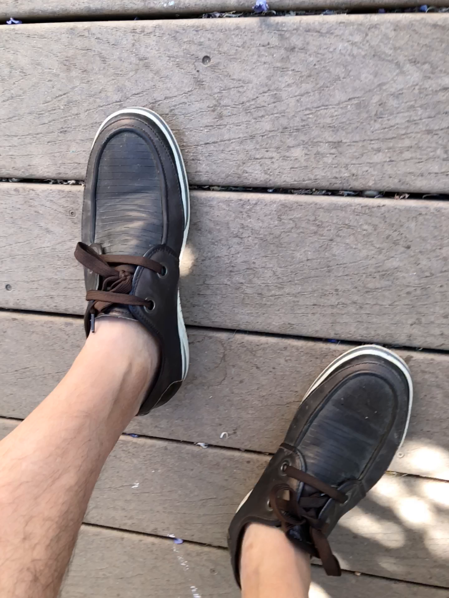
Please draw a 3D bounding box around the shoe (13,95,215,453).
[{"bbox_3d":[-0.082,-0.017,0.432,0.104,0.096,0.283,-1,107,12],"label":"shoe"}]

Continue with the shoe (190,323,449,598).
[{"bbox_3d":[0.087,0.173,0.455,0.104,0.089,0.277,31,111,1],"label":"shoe"}]
